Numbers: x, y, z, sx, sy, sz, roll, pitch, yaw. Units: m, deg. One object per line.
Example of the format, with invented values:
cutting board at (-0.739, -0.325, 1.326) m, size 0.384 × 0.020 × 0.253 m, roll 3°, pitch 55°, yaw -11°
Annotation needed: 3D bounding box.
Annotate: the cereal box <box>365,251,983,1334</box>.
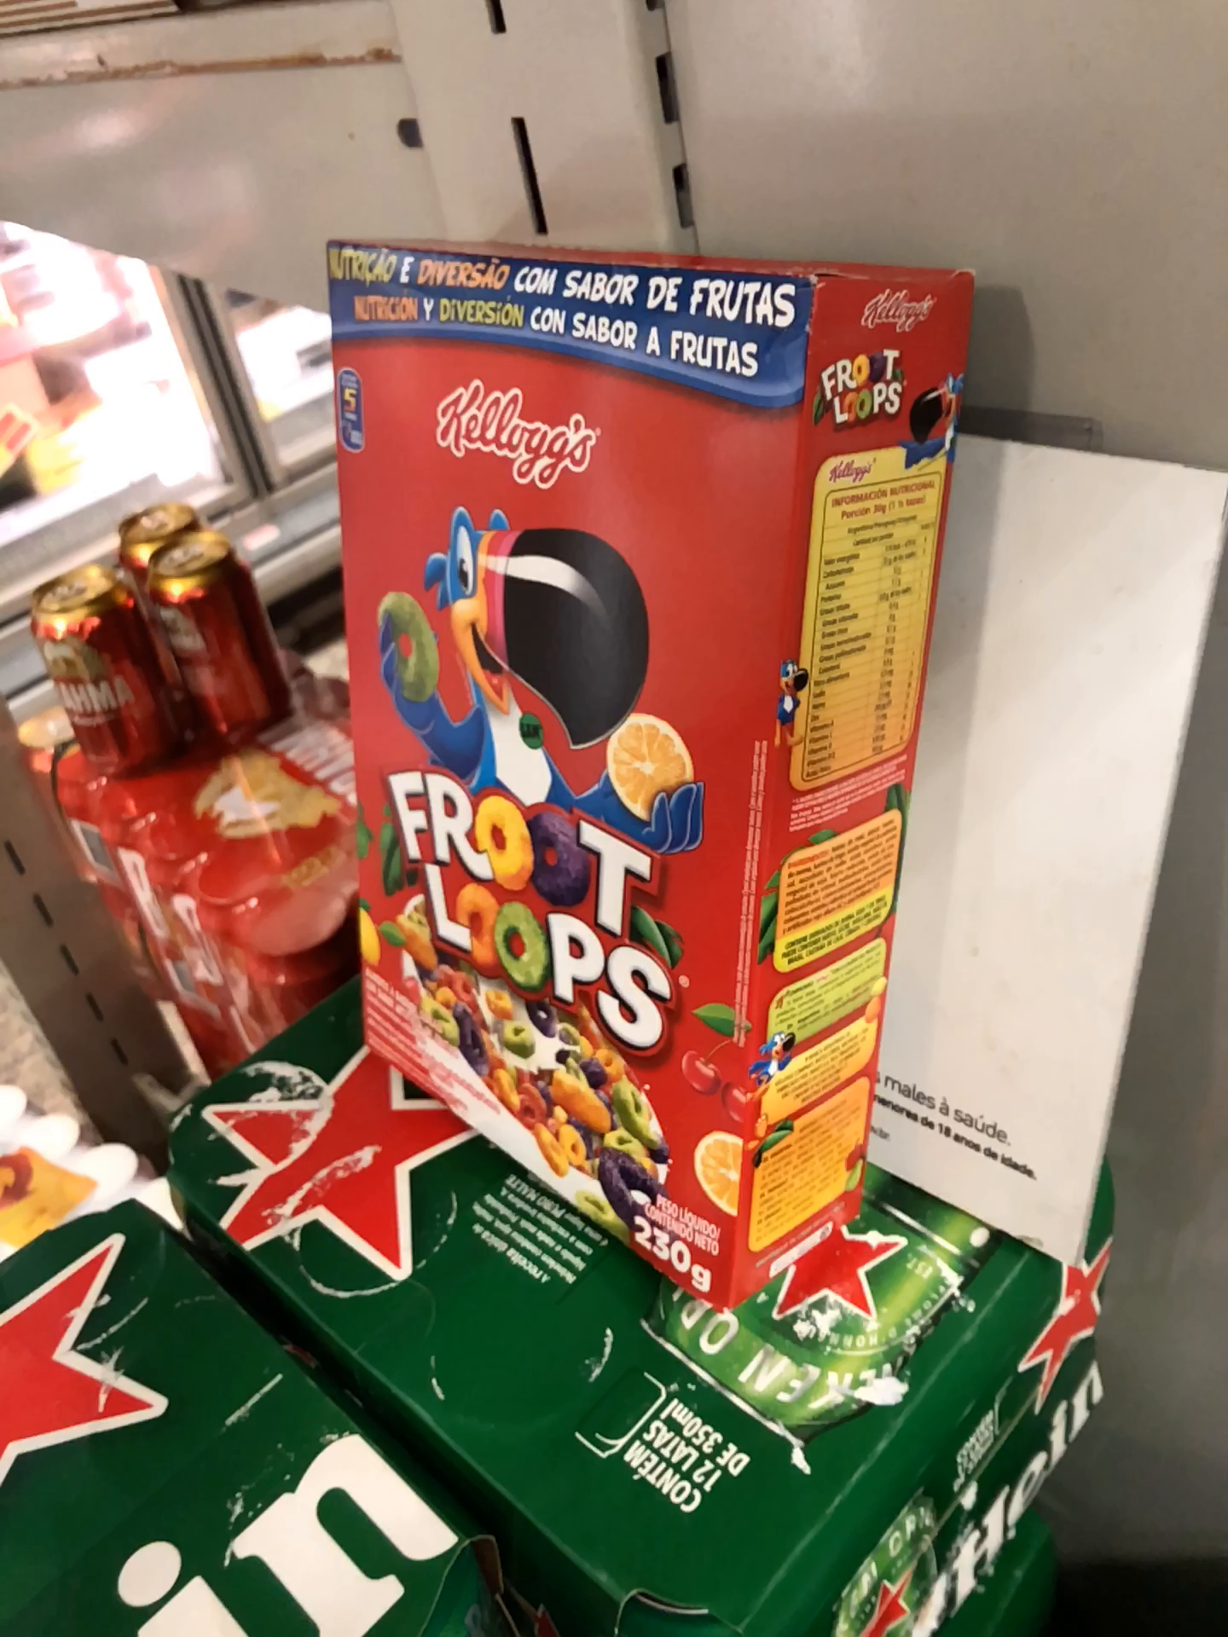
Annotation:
cereal box at (0.003, -0.014, 0.379) m, size 0.060 × 0.258 × 0.151 m, roll -18°, pitch 30°, yaw -40°
